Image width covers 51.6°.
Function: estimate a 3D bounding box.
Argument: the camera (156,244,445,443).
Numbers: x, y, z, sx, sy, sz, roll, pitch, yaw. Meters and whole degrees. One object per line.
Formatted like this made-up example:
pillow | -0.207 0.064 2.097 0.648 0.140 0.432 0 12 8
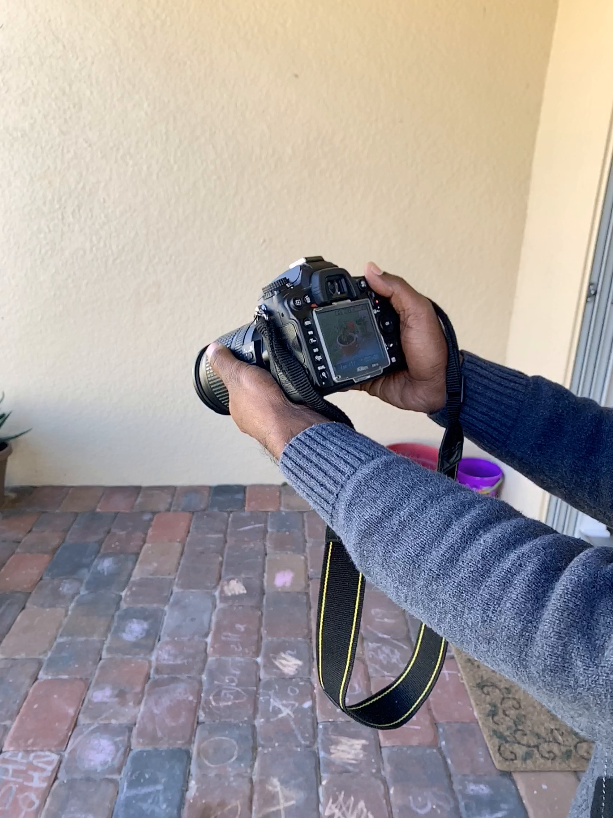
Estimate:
camera | -0.012 -0.052 0.548 0.131 0.100 0.199 -18 0 -43
